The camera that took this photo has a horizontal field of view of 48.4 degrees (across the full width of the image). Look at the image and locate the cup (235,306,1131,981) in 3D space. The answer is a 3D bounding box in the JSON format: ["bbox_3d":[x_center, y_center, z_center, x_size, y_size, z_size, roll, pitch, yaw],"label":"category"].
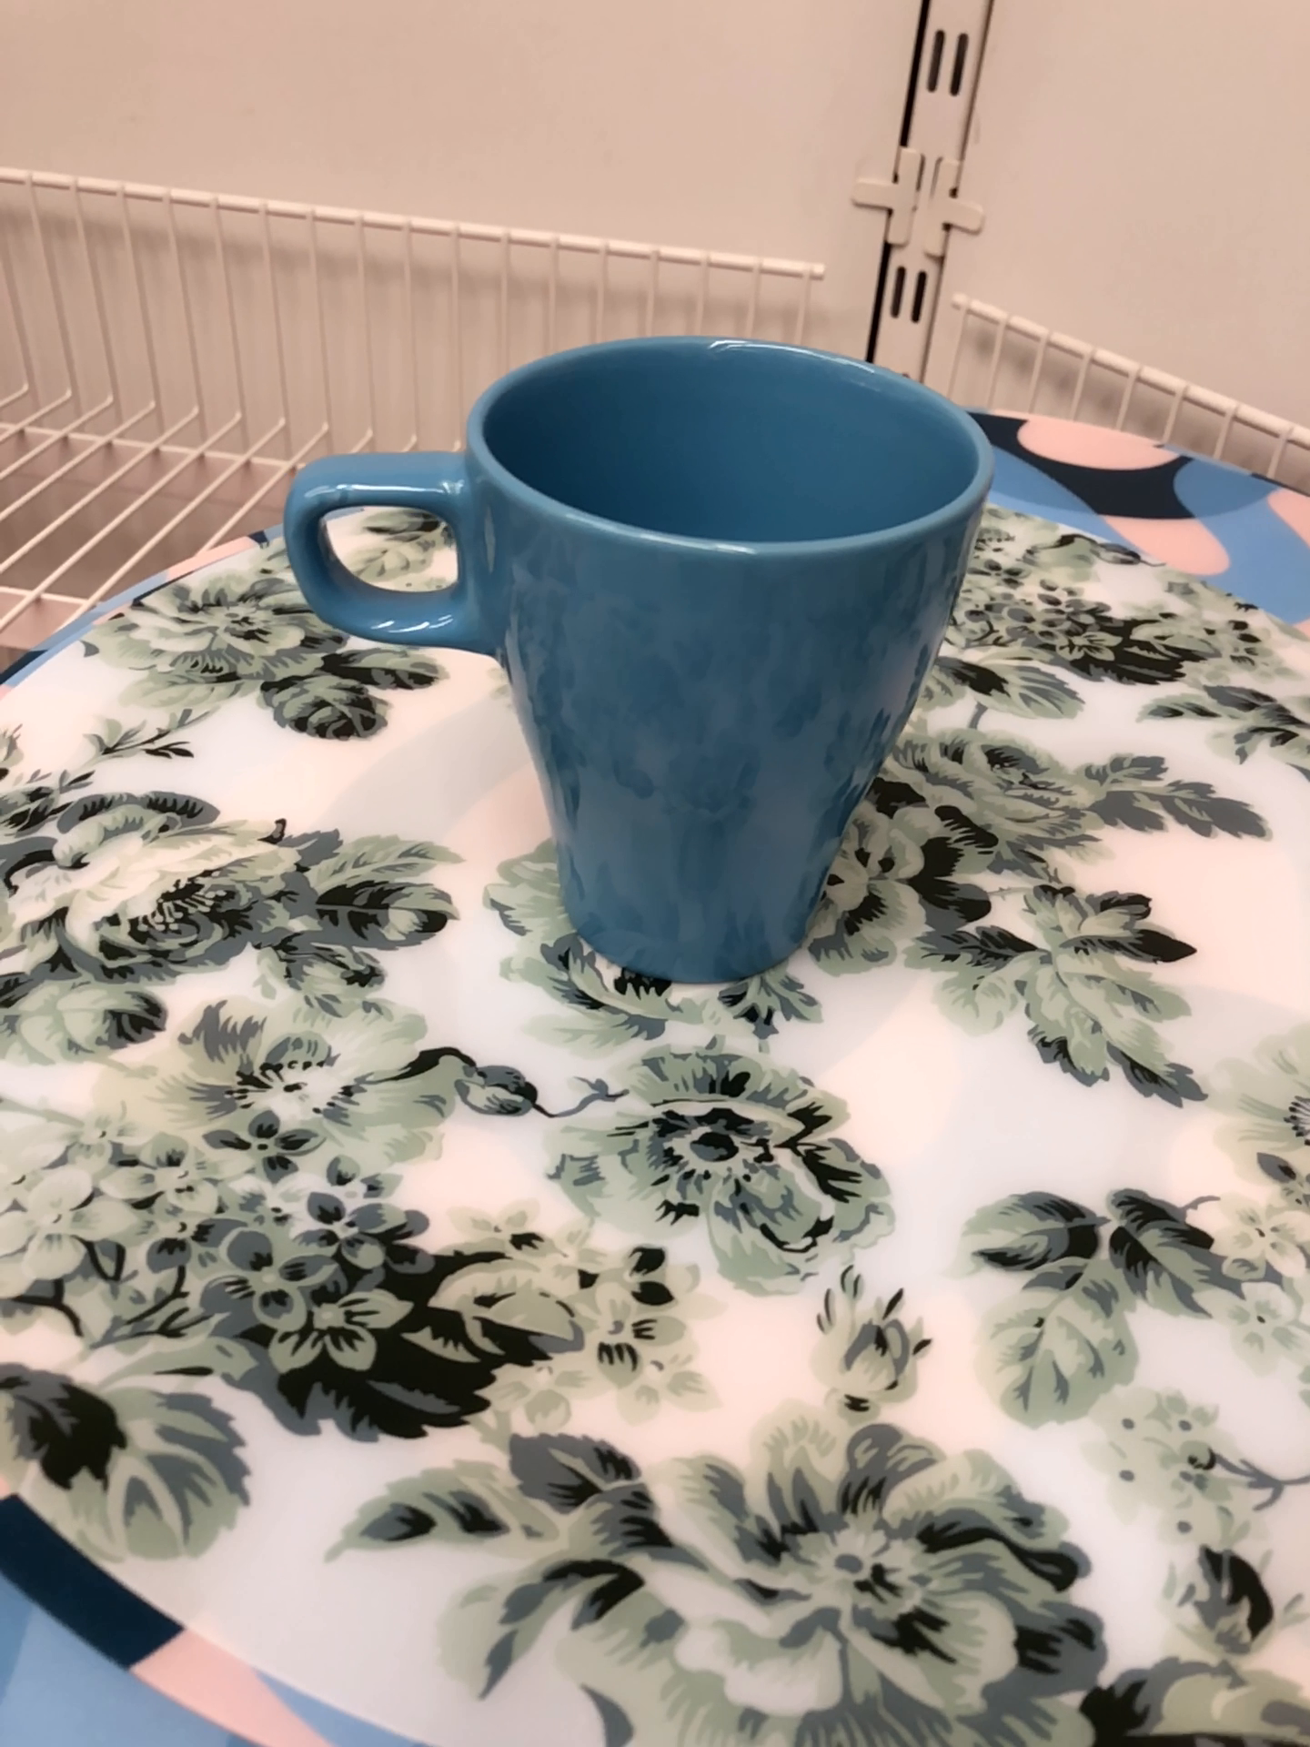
[{"bbox_3d":[-0.001,-0.042,0.253,0.120,0.080,0.090,0,36,-7],"label":"cup"}]
